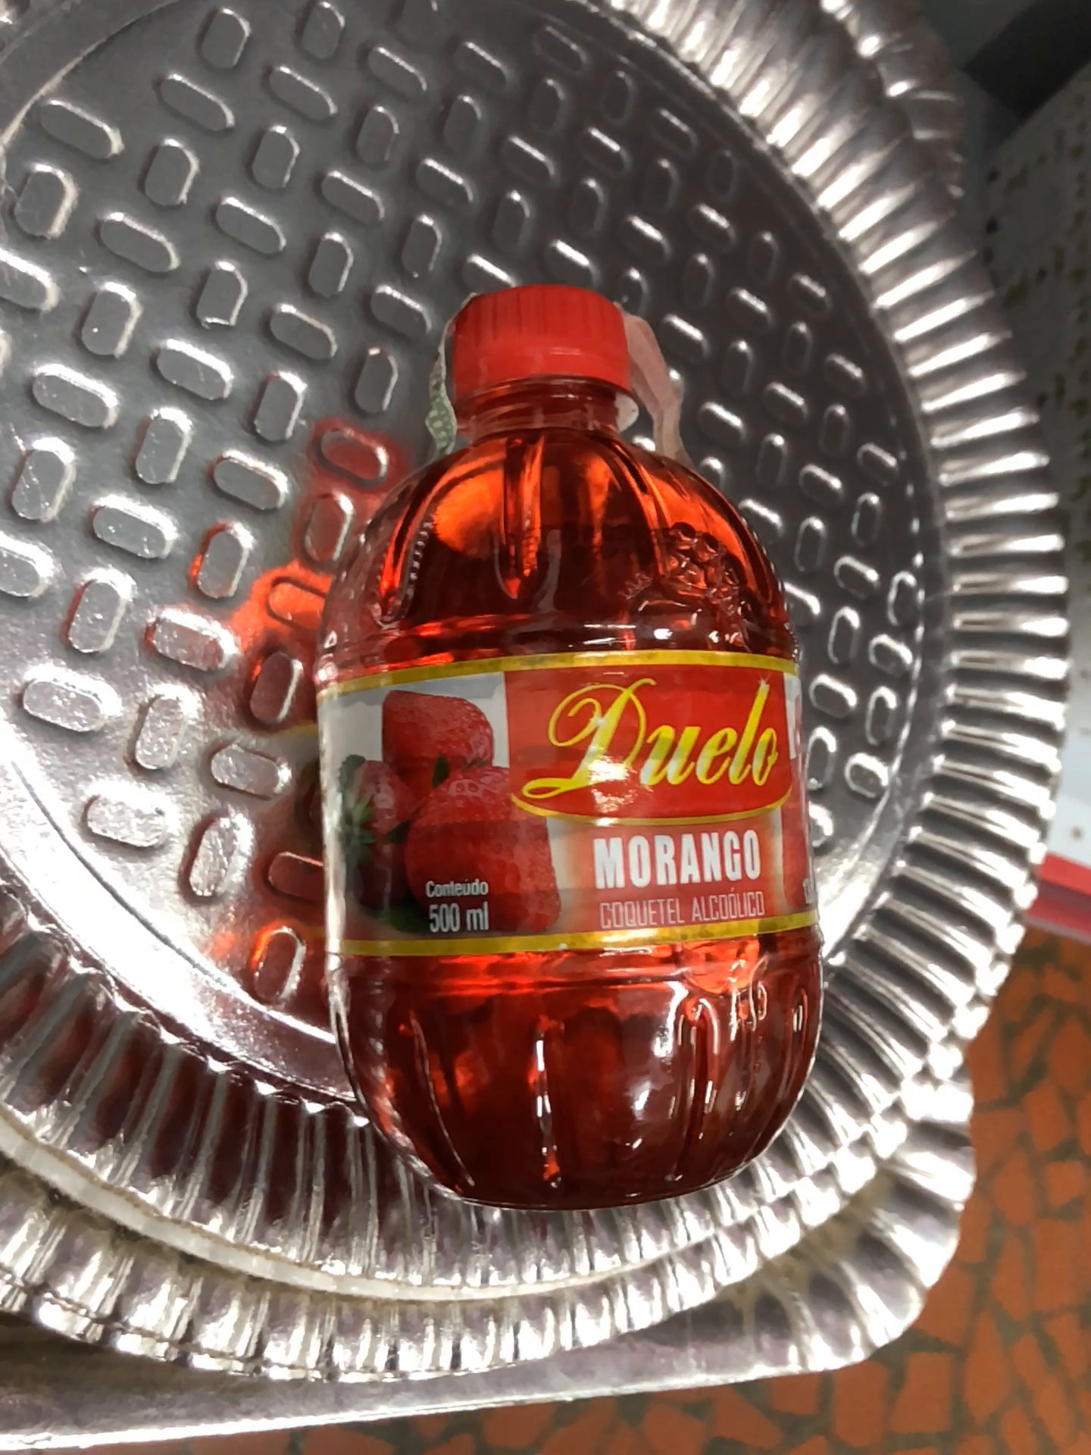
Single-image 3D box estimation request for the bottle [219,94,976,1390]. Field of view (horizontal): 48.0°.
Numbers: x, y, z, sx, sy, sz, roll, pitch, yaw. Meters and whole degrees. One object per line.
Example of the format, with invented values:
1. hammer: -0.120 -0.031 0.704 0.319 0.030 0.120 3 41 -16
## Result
1. bottle: 0.005 0.002 0.195 0.090 0.070 0.150 0 85 -32
